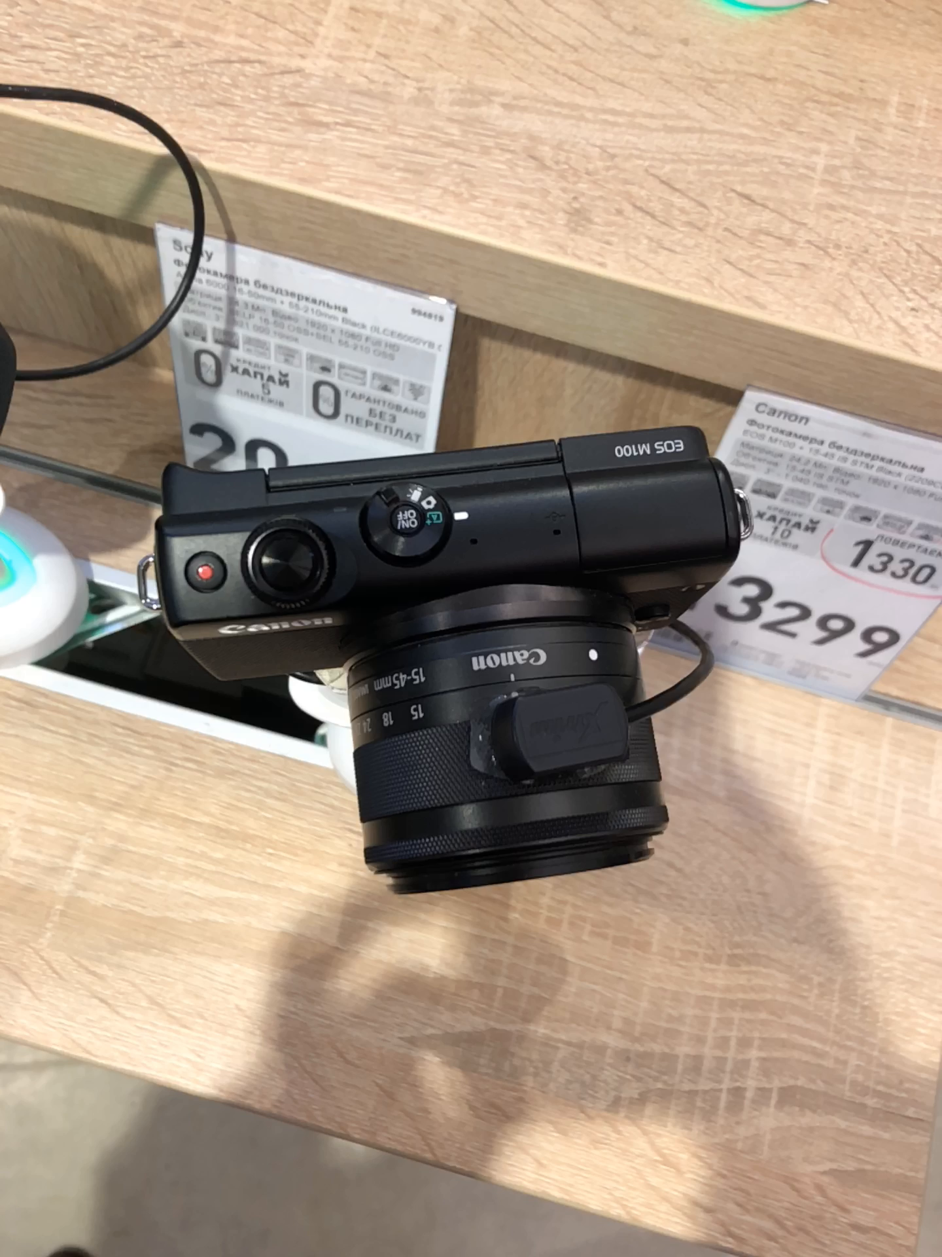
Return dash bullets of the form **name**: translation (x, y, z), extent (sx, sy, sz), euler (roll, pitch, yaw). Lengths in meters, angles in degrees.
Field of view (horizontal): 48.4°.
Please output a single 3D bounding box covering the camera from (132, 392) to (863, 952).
- **camera**: translation (0.001, 0.011, 0.205), extent (0.112, 0.061, 0.082), euler (-7, 76, -7)
